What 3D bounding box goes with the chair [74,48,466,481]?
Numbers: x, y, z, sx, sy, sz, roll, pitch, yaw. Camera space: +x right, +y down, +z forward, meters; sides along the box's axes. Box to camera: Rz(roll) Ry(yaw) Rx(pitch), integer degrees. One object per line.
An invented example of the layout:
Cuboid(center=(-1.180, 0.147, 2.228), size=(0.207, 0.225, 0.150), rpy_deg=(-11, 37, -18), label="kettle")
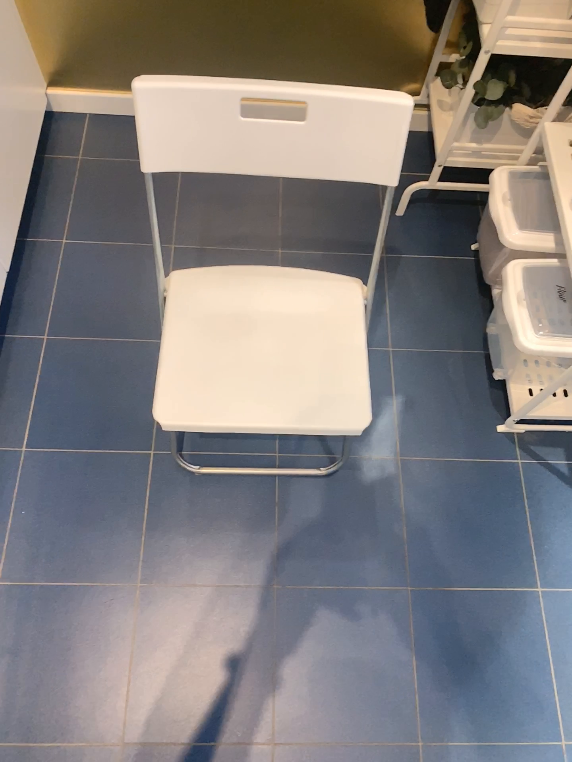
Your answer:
Cuboid(center=(-0.027, -0.130, 1.097), size=(0.460, 0.709, 0.451), rpy_deg=(3, 66, -2), label="chair")
